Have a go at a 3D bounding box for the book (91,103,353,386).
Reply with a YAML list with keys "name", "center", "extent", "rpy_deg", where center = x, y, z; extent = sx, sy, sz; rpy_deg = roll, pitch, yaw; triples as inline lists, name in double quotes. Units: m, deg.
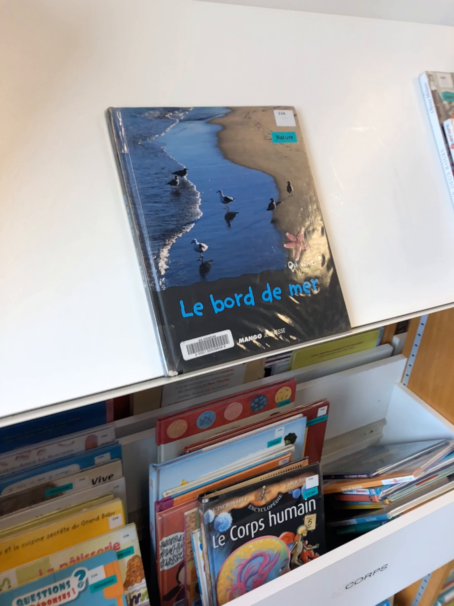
- name: "book"
  center: [0.003, -0.069, 0.475]
  extent: [0.209, 0.245, 0.020]
  rpy_deg: [-11, -5, -26]
